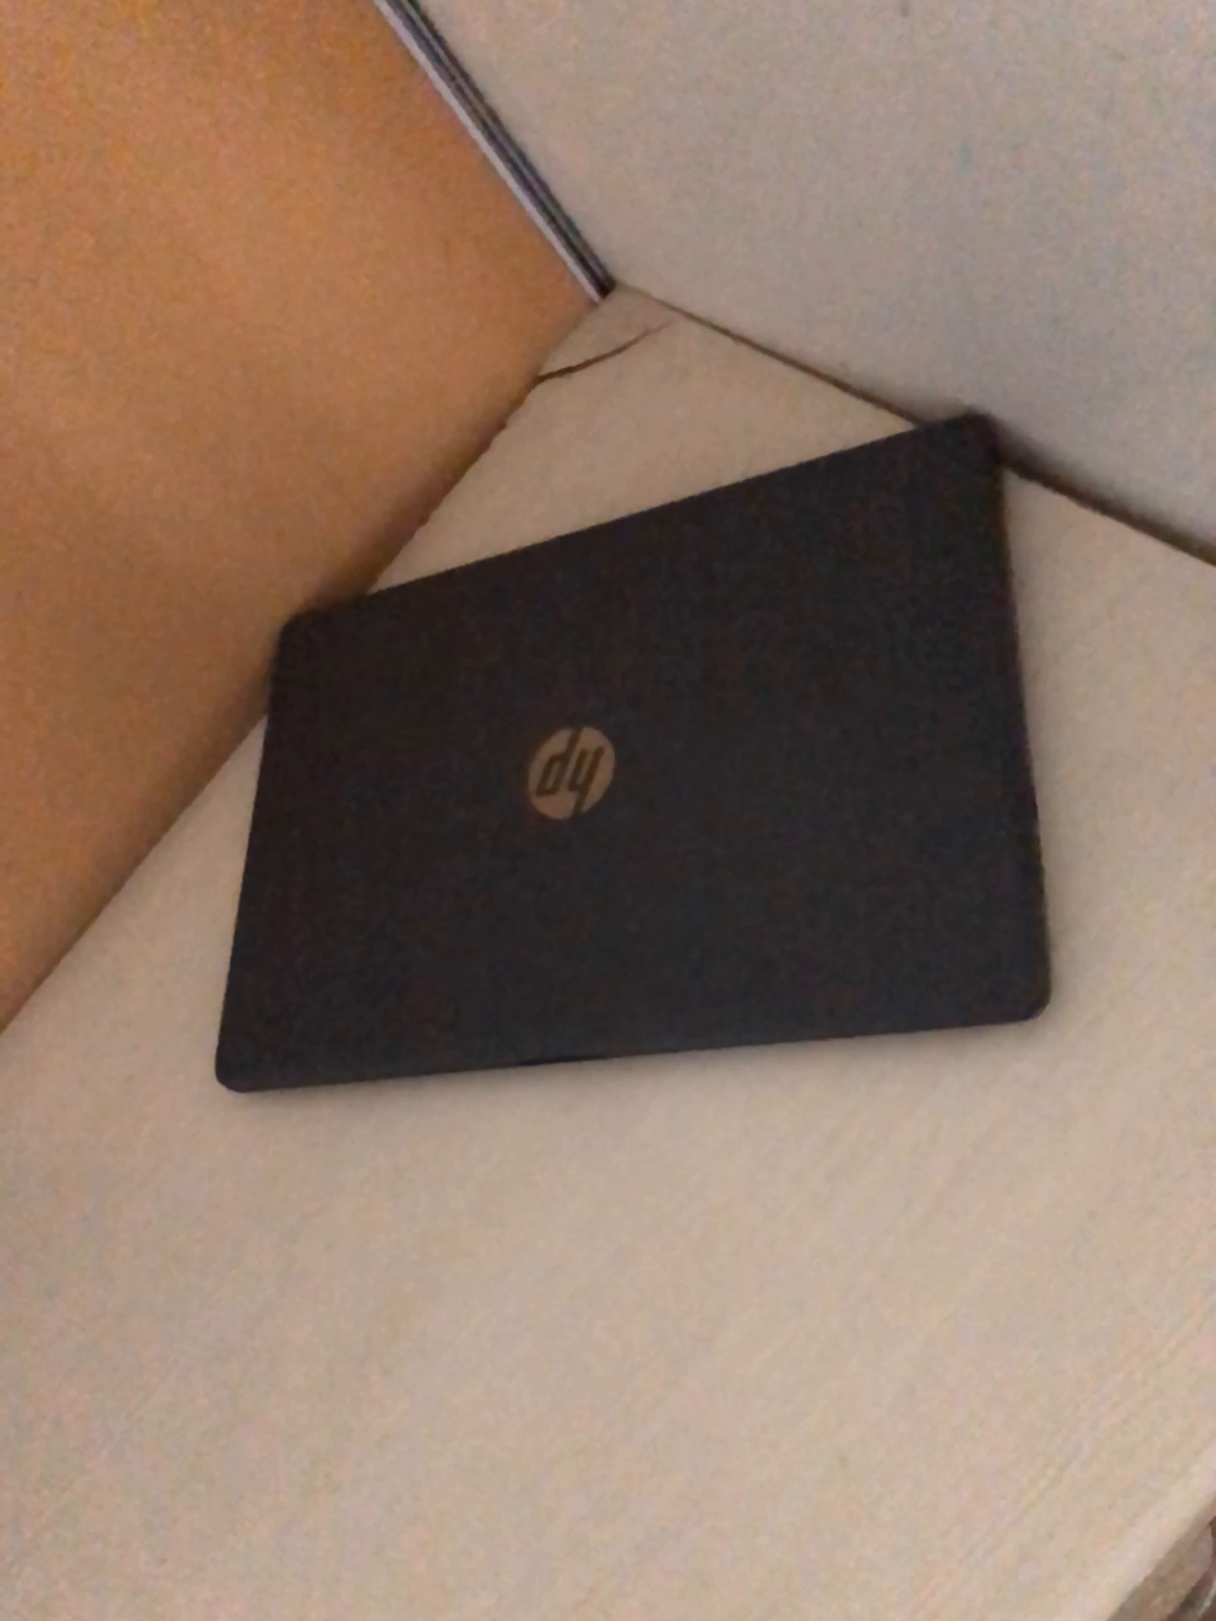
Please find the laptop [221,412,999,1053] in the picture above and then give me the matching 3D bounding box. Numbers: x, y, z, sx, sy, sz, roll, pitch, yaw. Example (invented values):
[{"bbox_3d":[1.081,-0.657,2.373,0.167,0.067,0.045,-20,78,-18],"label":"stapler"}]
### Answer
[{"bbox_3d":[-0.015,-0.025,0.585,0.357,0.004,0.236,-10,62,29],"label":"laptop"}]
